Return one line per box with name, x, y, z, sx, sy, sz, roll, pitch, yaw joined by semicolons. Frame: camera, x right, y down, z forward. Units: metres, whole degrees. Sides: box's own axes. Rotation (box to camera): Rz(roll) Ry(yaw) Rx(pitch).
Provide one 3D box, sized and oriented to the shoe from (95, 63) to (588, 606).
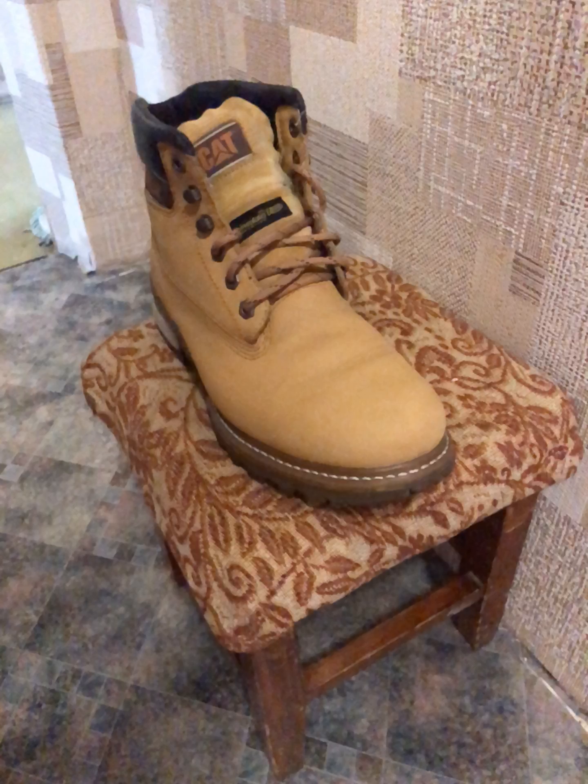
shoe;0.007;-0.061;0.404;0.130;0.189;0.291;-23;45;-23
